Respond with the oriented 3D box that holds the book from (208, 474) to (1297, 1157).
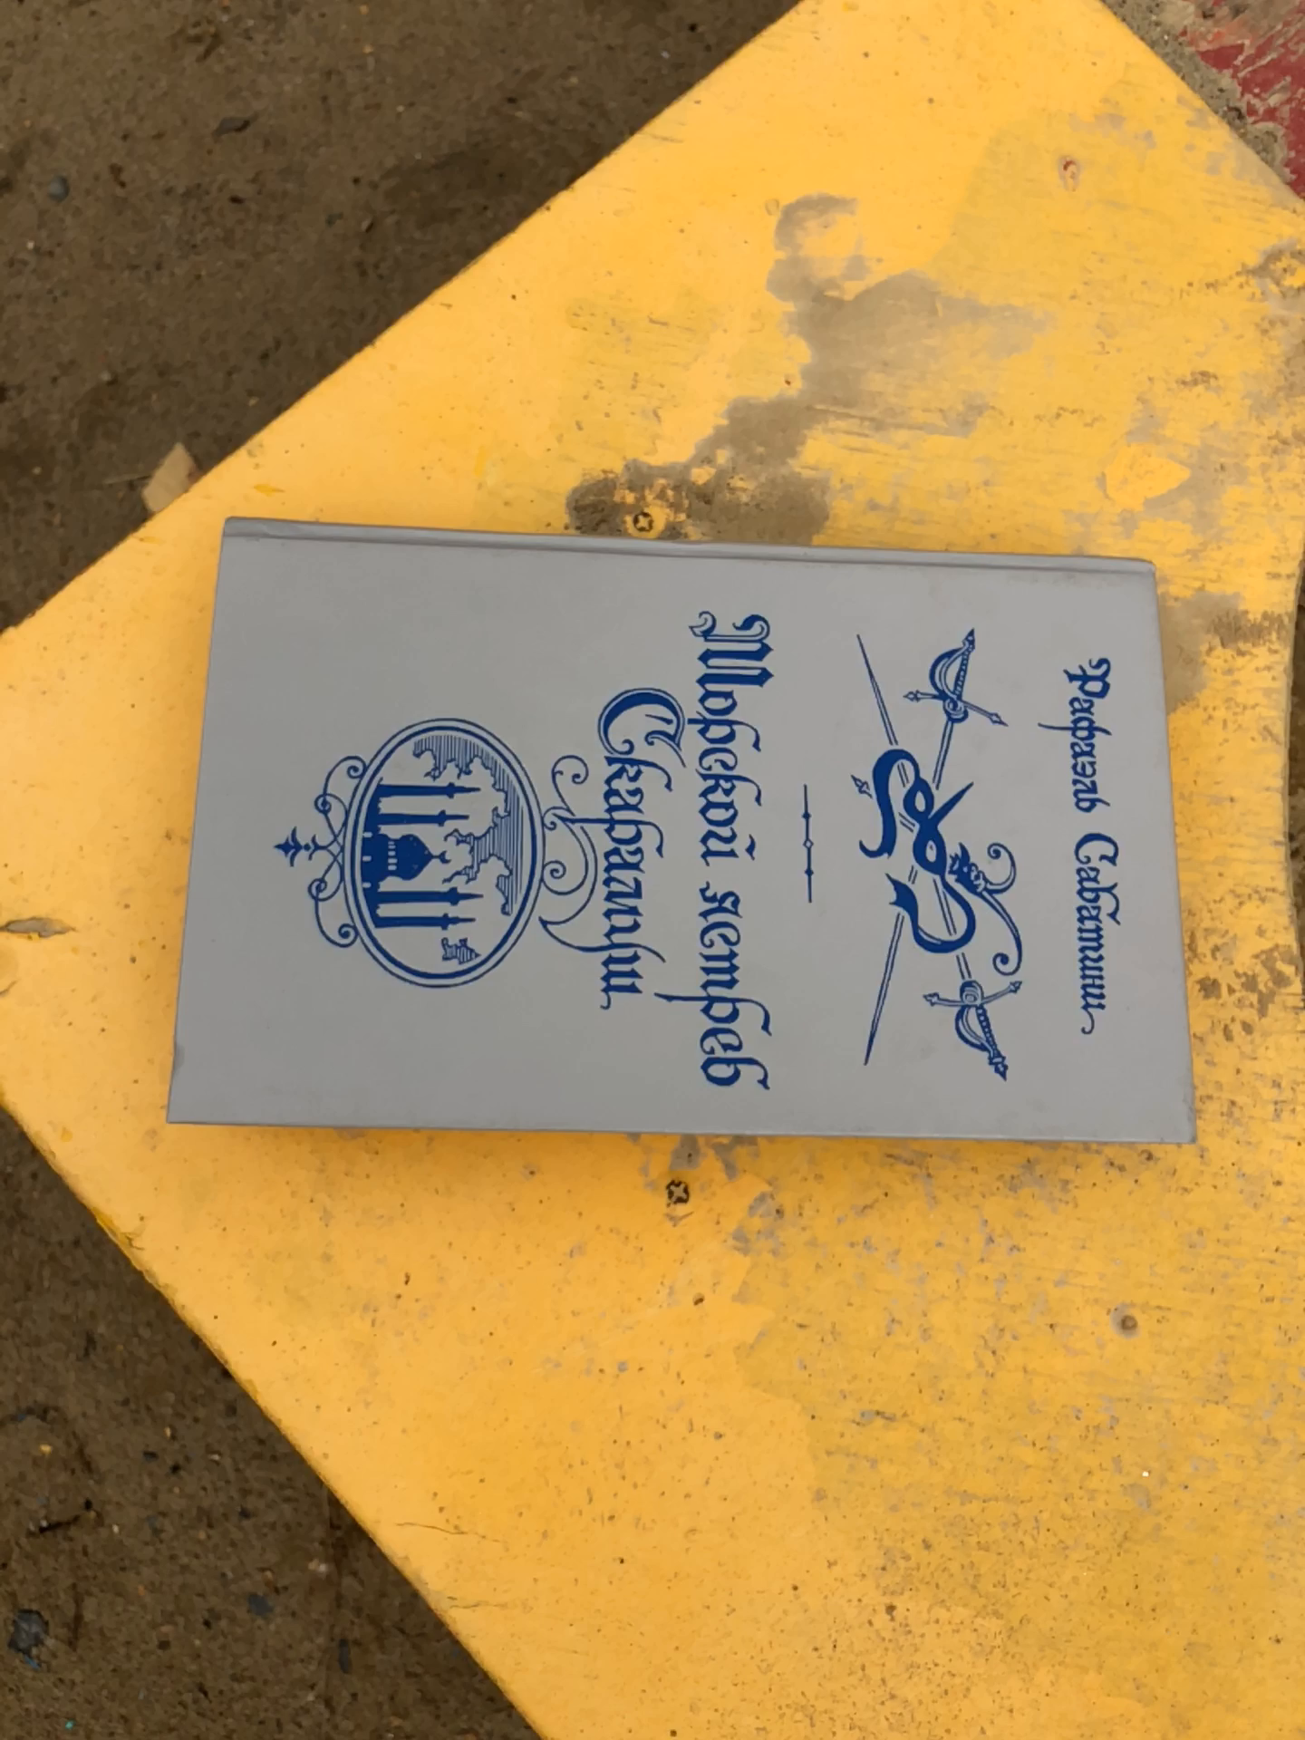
[{"bbox_3d":[0.021,-0.010,0.313,0.210,0.037,0.135,2,77,-2],"label":"book"}]
